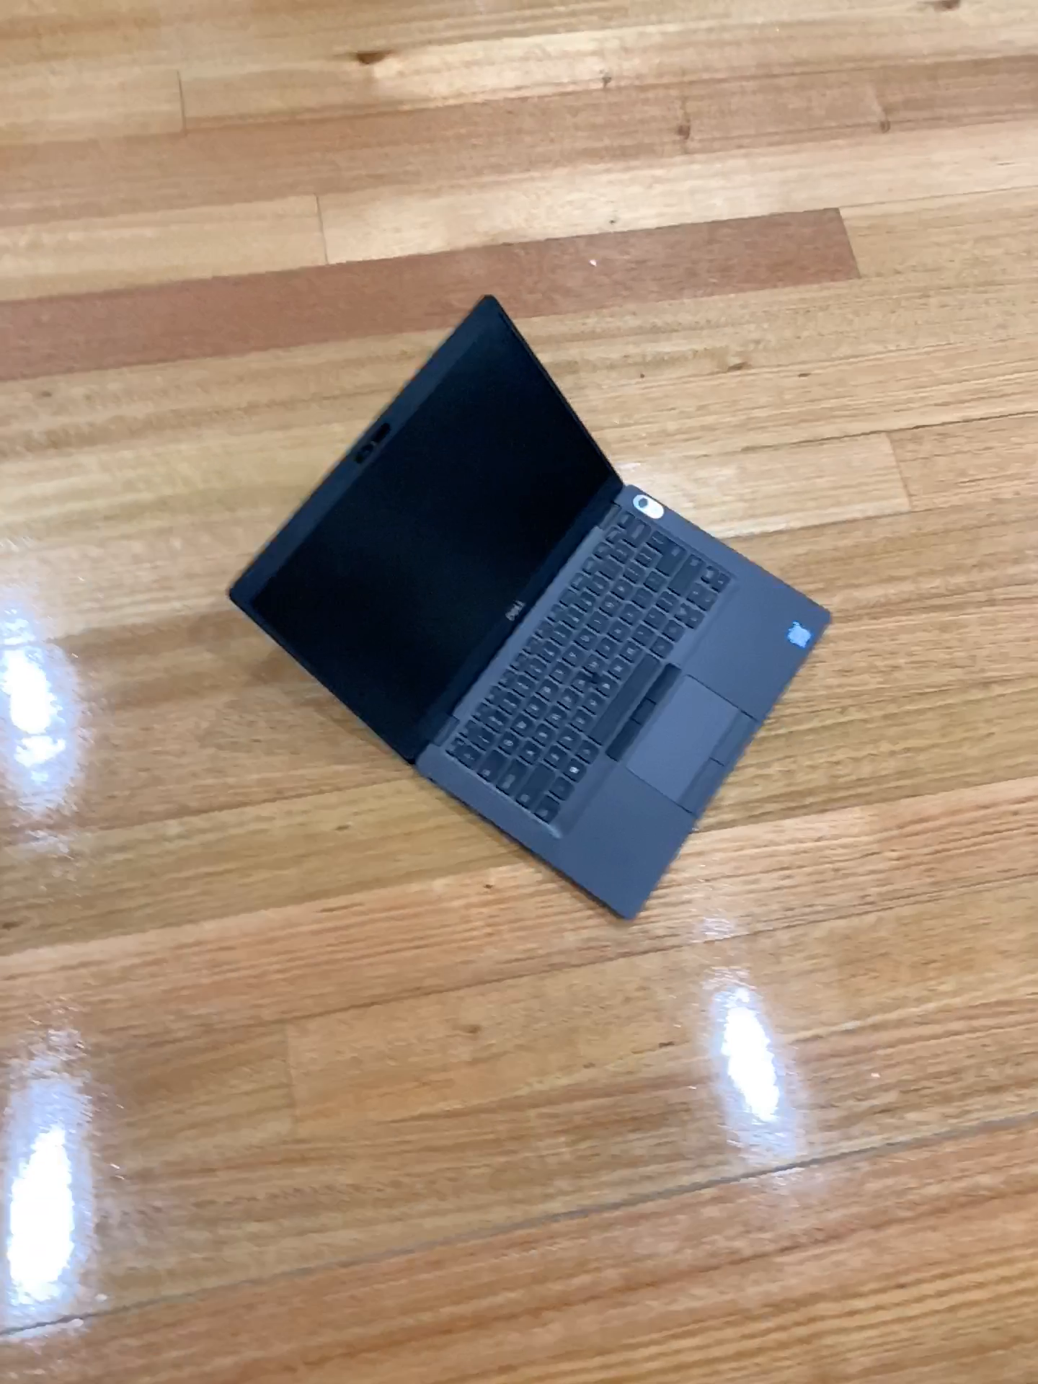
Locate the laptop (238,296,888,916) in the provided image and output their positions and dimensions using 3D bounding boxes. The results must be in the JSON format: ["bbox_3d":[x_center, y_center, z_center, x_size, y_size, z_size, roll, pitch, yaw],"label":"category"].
[{"bbox_3d":[0.035,-0.071,0.848,0.372,0.134,0.321,35,73,7],"label":"laptop"}]
